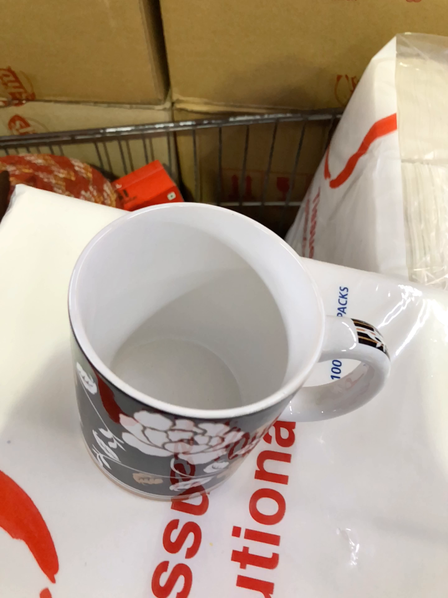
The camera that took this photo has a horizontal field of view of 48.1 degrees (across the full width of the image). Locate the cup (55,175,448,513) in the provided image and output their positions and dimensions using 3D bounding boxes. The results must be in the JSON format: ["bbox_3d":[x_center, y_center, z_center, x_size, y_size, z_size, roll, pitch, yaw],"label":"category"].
[{"bbox_3d":[0.012,0.025,0.188,0.130,0.100,0.080,3,57,-13],"label":"cup"}]
